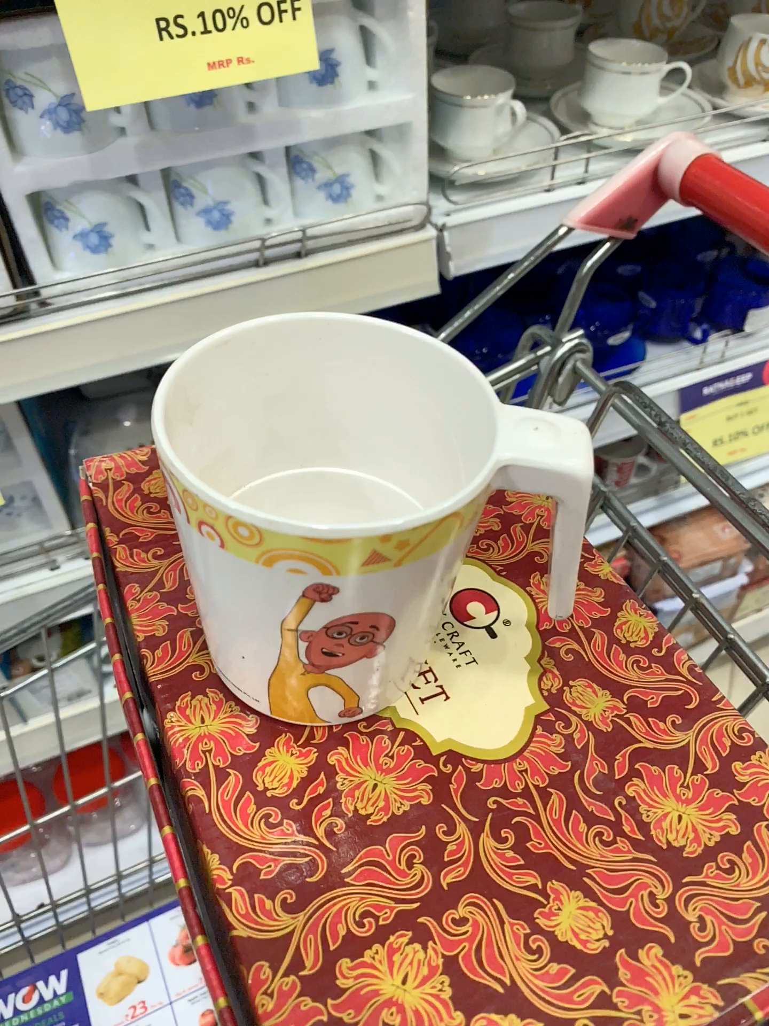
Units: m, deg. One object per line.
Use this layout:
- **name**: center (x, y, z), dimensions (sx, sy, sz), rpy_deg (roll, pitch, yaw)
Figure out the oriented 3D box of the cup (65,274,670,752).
- **cup**: center (-0.003, 0.001, 0.201), dimensions (0.110, 0.080, 0.080), rpy_deg (4, 47, 0)
